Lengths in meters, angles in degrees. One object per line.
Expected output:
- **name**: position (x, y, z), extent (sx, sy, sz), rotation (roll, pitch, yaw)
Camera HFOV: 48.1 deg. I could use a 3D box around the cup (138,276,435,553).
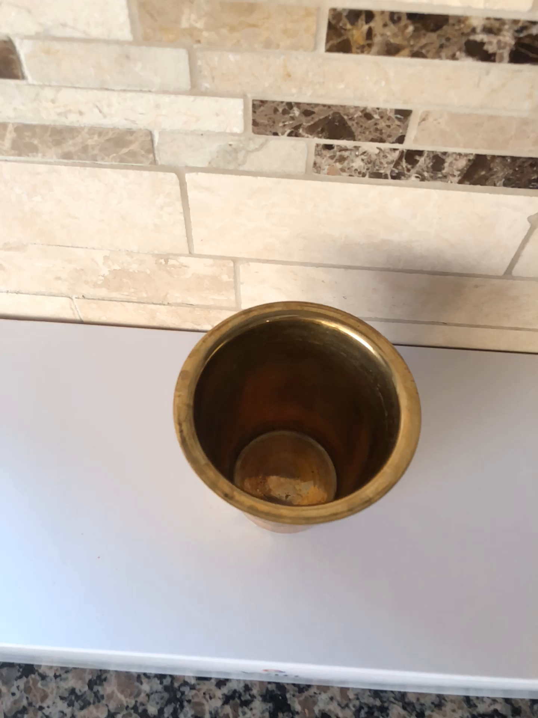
- **cup**: position (0.004, 0.023, 0.218), extent (0.083, 0.072, 0.075), rotation (0, 58, -2)
